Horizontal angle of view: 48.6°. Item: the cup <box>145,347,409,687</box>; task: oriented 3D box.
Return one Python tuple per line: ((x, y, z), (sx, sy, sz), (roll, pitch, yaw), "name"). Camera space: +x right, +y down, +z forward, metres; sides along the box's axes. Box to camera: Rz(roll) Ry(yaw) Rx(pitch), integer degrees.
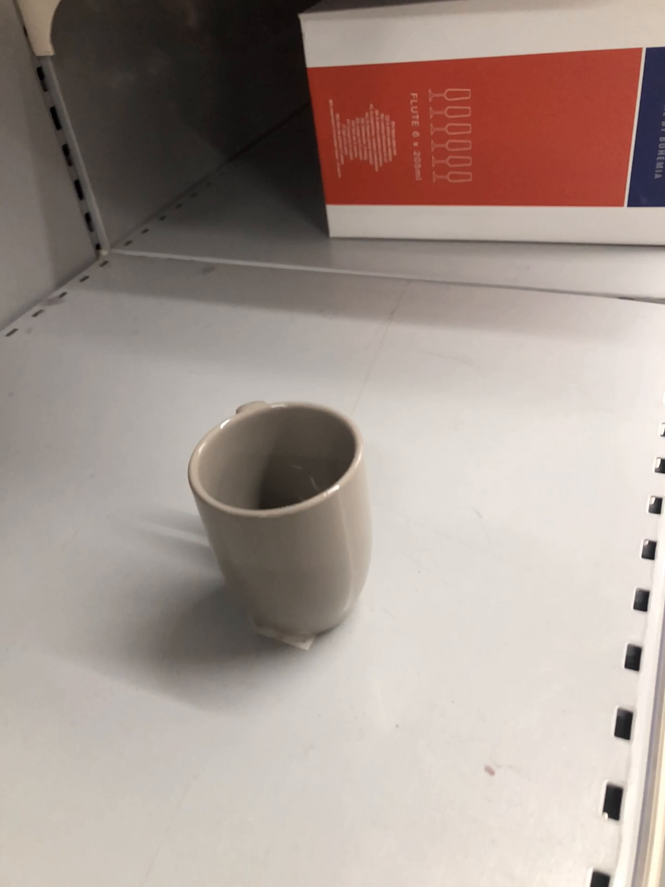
((-0.022, 0.022, 0.266), (0.064, 0.062, 0.092), (-17, 40, -11), "cup")
